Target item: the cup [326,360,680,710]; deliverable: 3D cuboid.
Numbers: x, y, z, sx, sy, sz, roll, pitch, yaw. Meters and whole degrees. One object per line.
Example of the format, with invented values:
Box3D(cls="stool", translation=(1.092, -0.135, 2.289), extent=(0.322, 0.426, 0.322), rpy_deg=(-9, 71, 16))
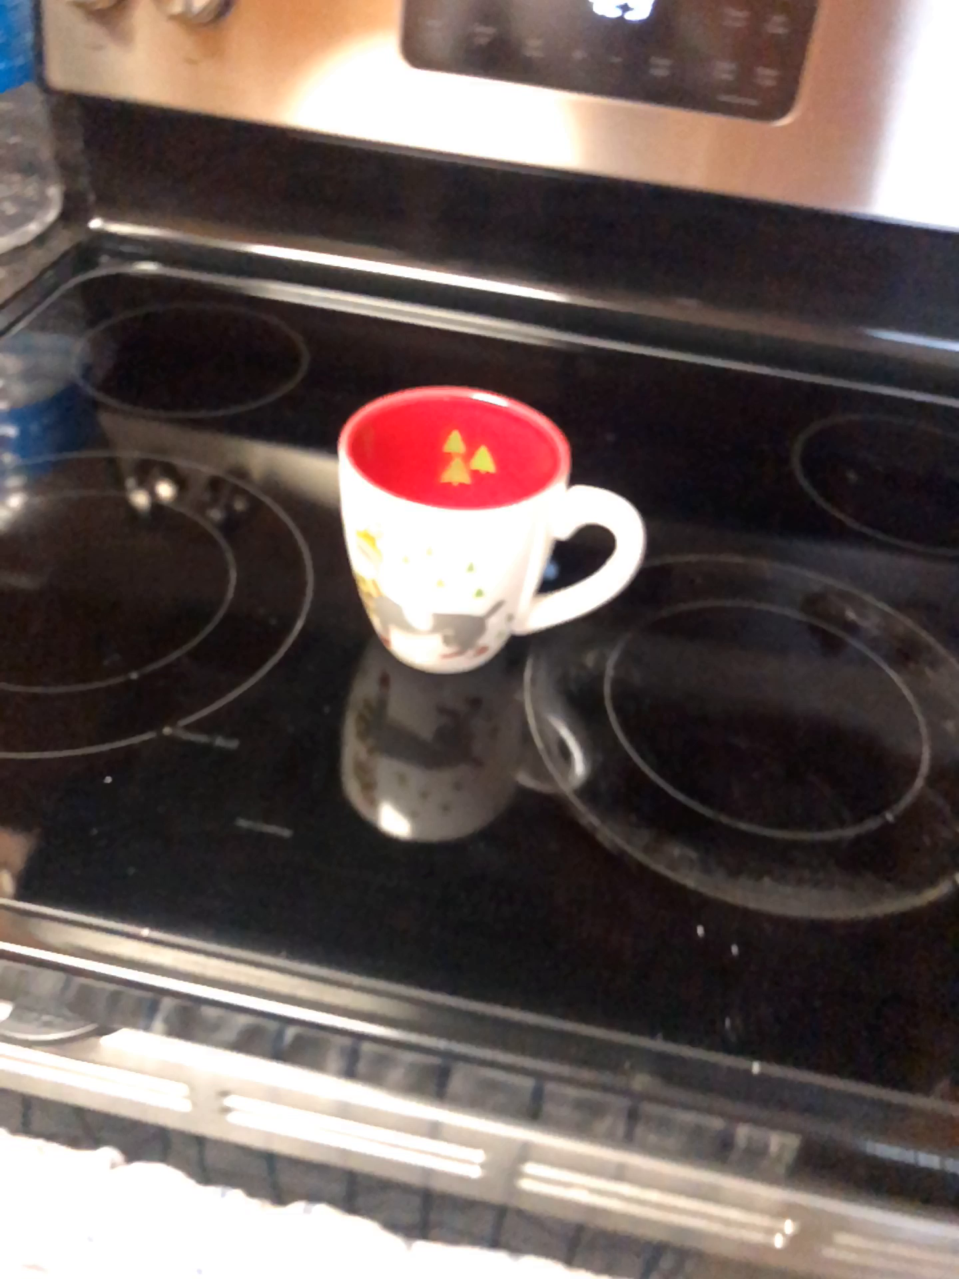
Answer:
Box3D(cls="cup", translation=(0.011, -0.049, 0.496), extent=(0.140, 0.100, 0.100), rpy_deg=(10, 42, 3))
